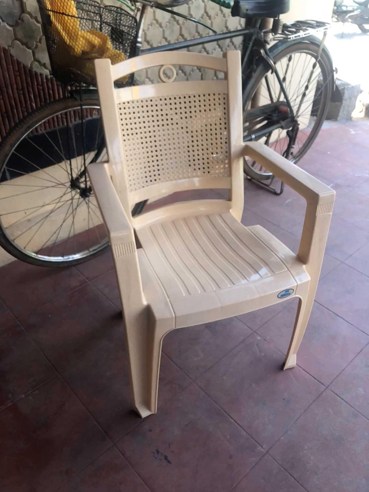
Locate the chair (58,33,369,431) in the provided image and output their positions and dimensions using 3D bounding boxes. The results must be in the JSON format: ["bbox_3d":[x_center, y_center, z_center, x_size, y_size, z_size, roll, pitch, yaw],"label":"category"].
[{"bbox_3d":[0.061,-0.052,1.115,0.591,0.826,0.552,-12,40,-16],"label":"chair"}]
